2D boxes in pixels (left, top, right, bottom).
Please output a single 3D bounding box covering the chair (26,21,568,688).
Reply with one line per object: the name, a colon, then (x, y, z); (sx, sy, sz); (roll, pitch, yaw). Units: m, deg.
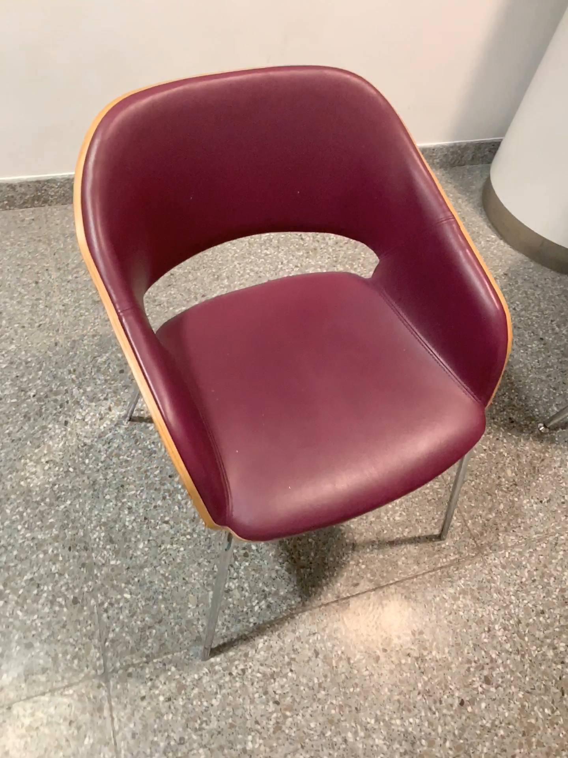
chair: (0.037, -0.017, 0.937); (0.571, 0.734, 0.634); (-18, 59, -21)
